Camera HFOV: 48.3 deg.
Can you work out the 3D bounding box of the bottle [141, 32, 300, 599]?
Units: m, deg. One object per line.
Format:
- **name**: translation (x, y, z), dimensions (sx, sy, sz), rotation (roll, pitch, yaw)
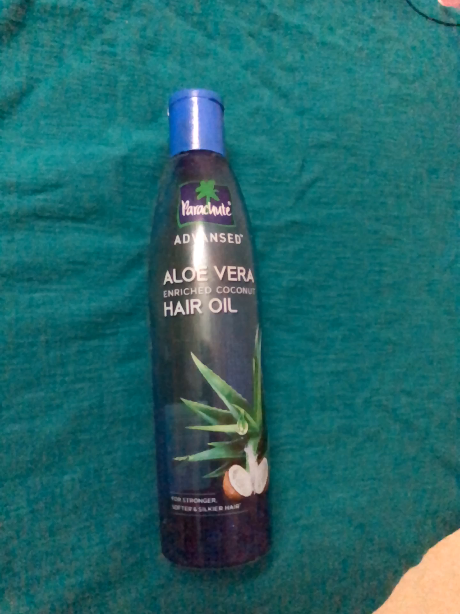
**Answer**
- **bottle**: translation (-0.008, -0.002, 0.214), dimensions (0.050, 0.040, 0.210), rotation (-1, 82, -14)
